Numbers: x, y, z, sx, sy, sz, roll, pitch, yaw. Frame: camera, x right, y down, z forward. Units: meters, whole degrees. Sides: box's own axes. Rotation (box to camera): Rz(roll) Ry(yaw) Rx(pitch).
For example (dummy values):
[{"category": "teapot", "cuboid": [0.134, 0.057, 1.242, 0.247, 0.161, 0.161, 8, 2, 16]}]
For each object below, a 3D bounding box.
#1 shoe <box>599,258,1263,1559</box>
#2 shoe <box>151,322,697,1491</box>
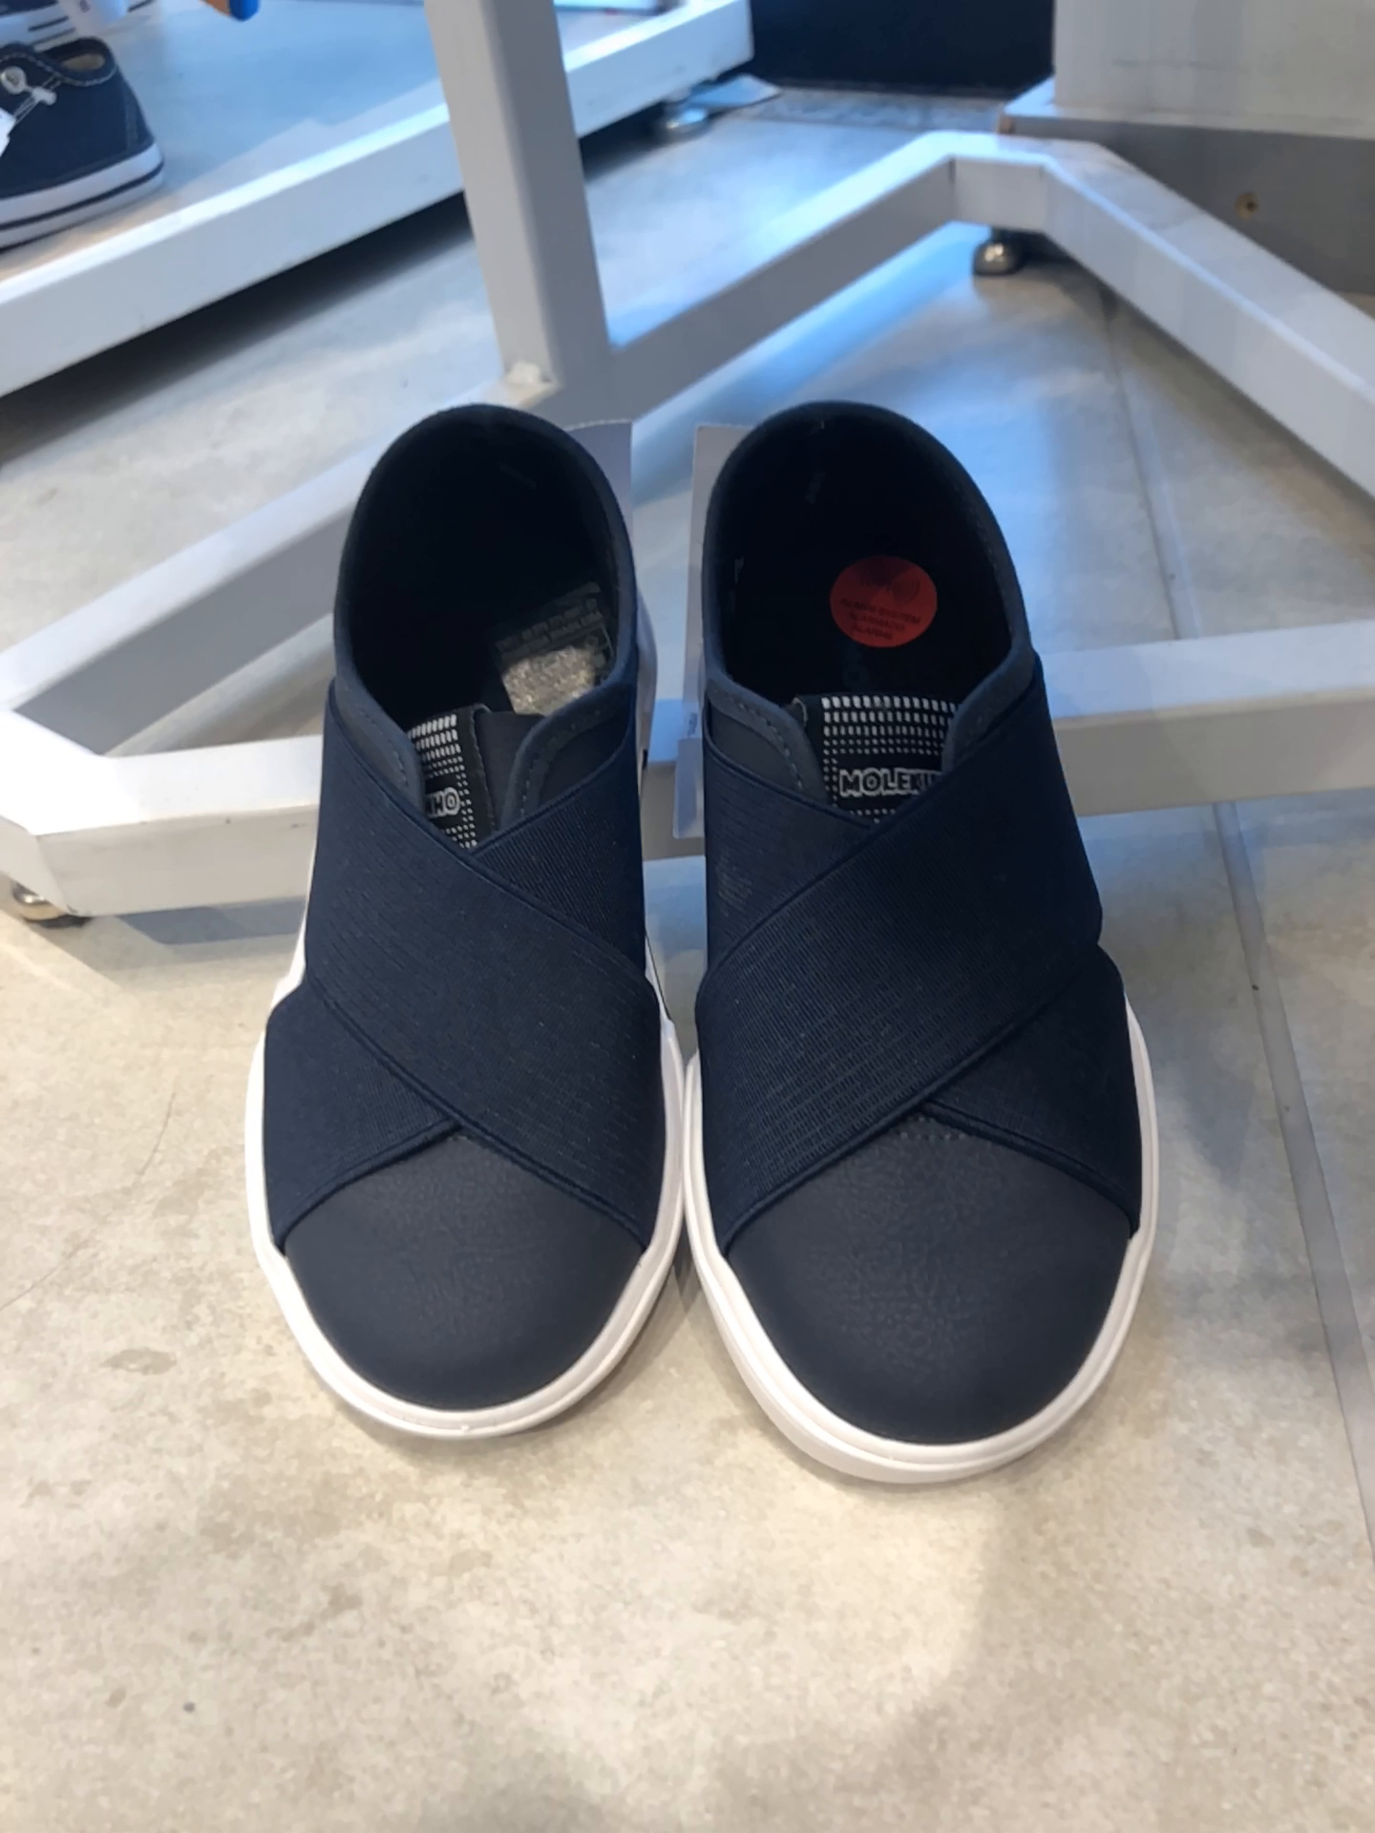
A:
[{"category": "shoe", "cuboid": [0.030, -0.001, 0.242, 0.070, 0.070, 0.181, -5, 72, 5]}, {"category": "shoe", "cuboid": [-0.036, -0.001, 0.262, 0.070, 0.070, 0.181, -2, 73, 2]}]
